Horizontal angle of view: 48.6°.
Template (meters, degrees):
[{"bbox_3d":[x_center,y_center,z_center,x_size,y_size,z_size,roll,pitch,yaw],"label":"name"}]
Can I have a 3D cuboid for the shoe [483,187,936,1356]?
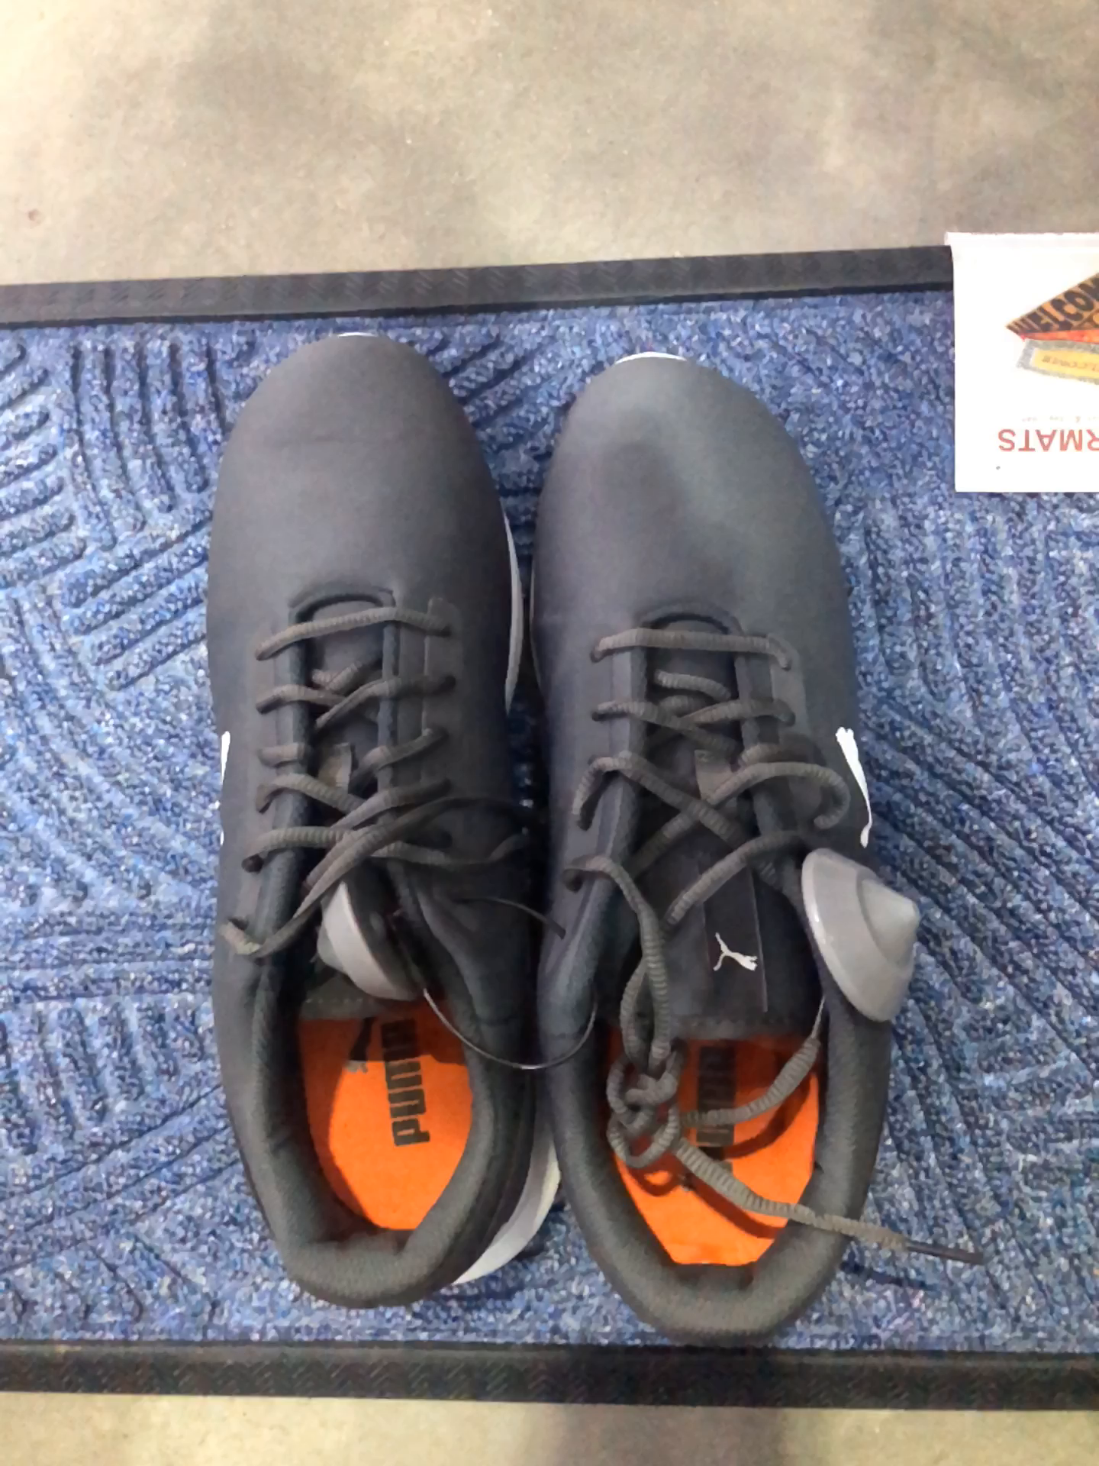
[{"bbox_3d":[0.041,0.008,0.365,0.100,0.100,0.300,-3,83,4],"label":"shoe"}]

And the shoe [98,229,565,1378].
[{"bbox_3d":[-0.062,0.017,0.374,0.110,0.100,0.300,-4,82,4],"label":"shoe"}]
